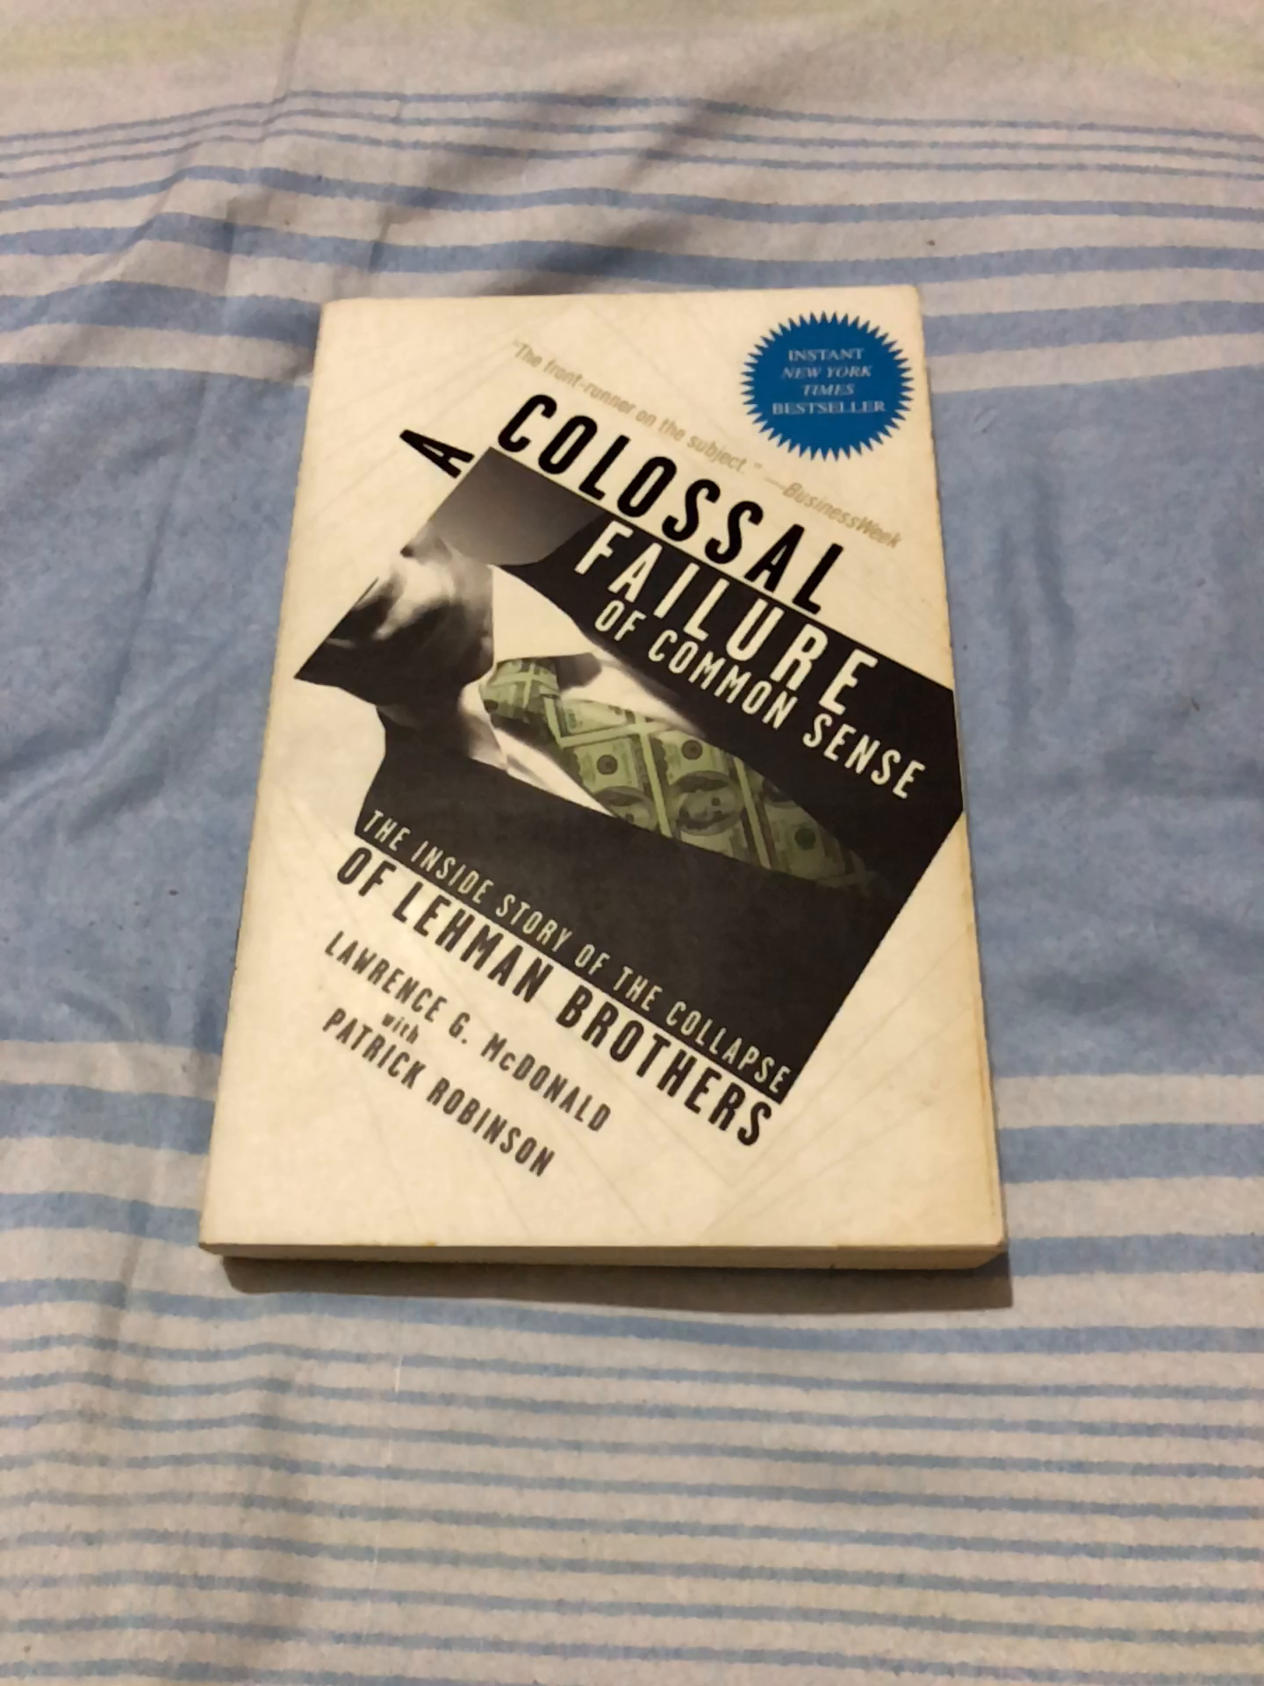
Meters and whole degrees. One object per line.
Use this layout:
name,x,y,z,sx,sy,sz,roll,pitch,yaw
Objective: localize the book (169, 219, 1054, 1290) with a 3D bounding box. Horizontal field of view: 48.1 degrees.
book,-0.003,-0.027,0.285,0.140,0.040,0.220,0,67,1
